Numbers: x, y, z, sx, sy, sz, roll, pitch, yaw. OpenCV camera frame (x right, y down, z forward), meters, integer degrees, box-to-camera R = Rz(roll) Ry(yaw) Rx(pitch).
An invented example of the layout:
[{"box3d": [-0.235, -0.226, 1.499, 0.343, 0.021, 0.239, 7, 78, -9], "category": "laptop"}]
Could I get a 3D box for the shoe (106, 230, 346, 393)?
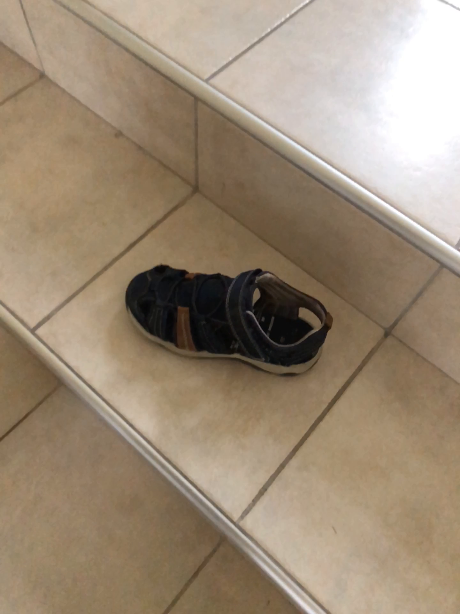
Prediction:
[{"box3d": [-0.003, 0.007, 0.544, 0.220, 0.100, 0.090, 14, 64, 4], "category": "shoe"}]
